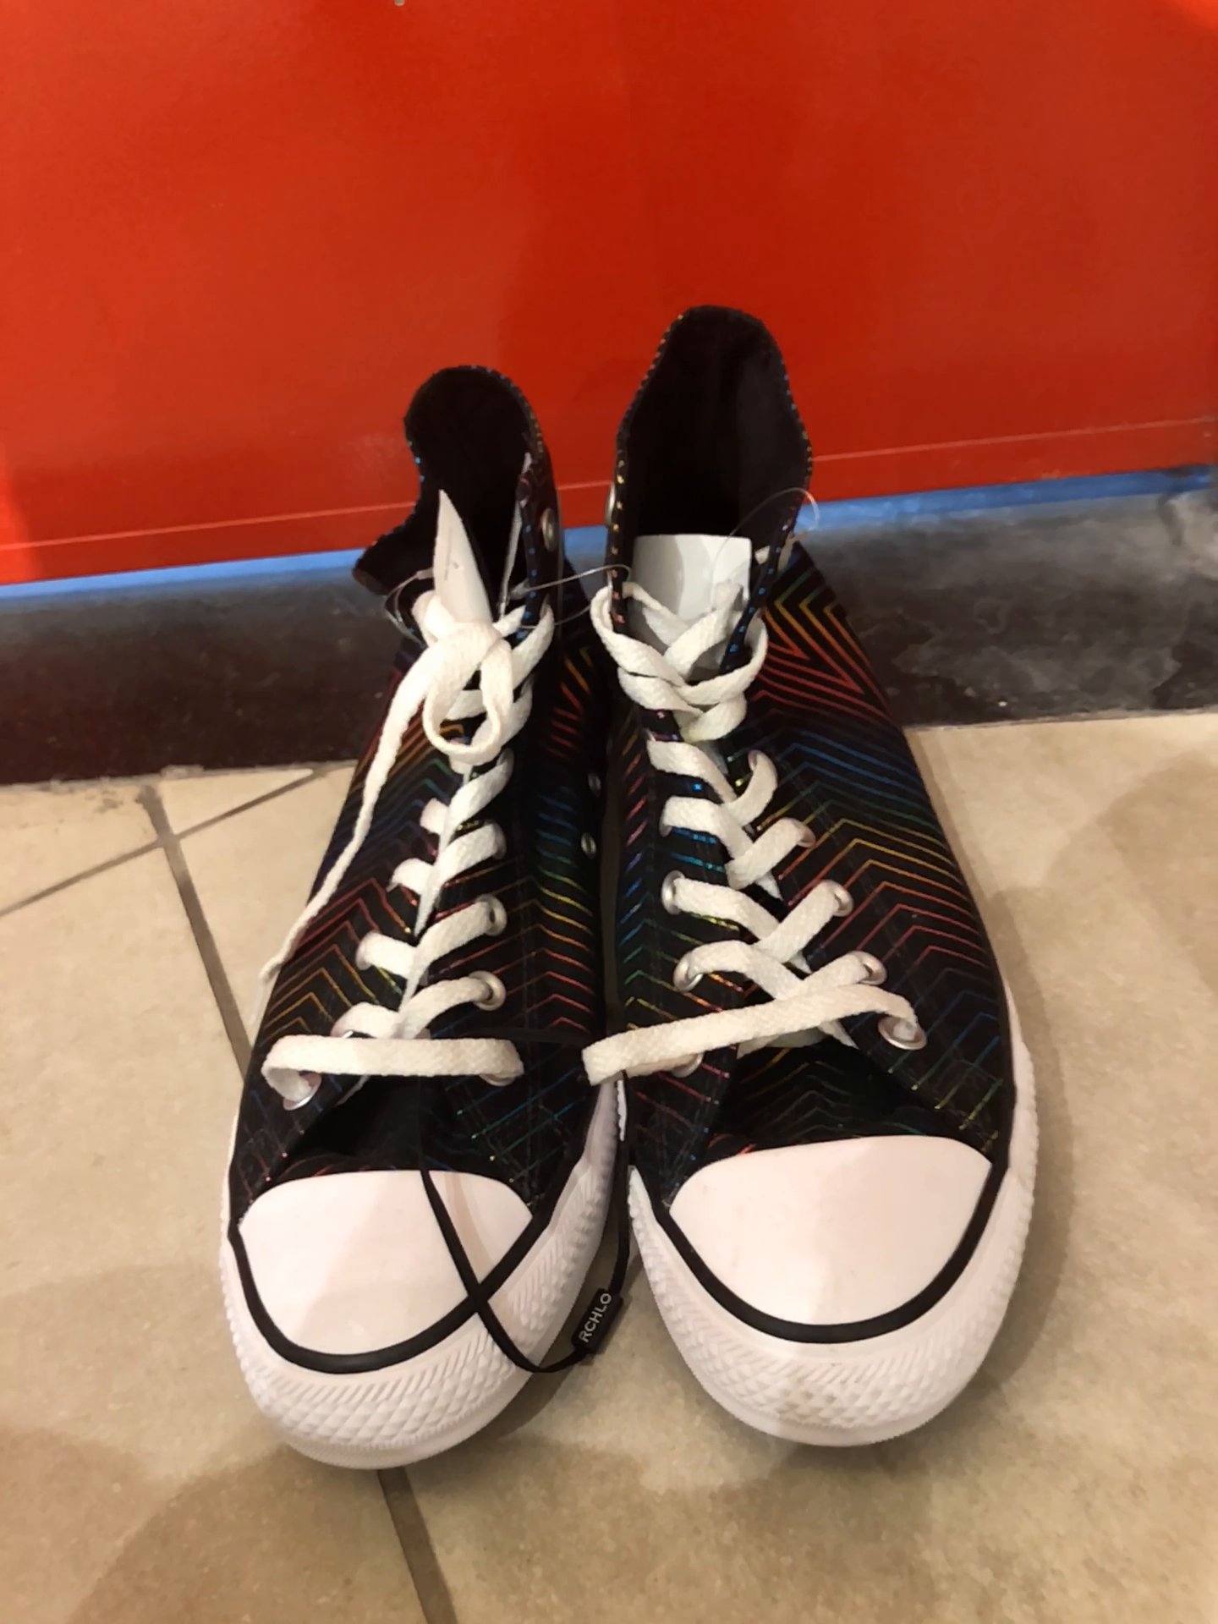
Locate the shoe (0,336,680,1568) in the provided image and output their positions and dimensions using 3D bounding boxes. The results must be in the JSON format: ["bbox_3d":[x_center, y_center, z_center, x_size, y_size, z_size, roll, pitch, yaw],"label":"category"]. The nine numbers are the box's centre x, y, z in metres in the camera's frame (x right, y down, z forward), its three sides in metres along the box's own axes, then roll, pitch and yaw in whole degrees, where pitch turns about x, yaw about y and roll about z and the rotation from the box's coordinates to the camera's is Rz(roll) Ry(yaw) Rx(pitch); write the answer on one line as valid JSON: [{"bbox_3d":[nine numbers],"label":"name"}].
[{"bbox_3d":[-0.045,0.013,0.372,0.110,0.139,0.312,-6,43,9],"label":"shoe"}]

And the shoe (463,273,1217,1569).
[{"bbox_3d":[0.044,0.000,0.353,0.110,0.139,0.312,-8,43,7],"label":"shoe"}]
